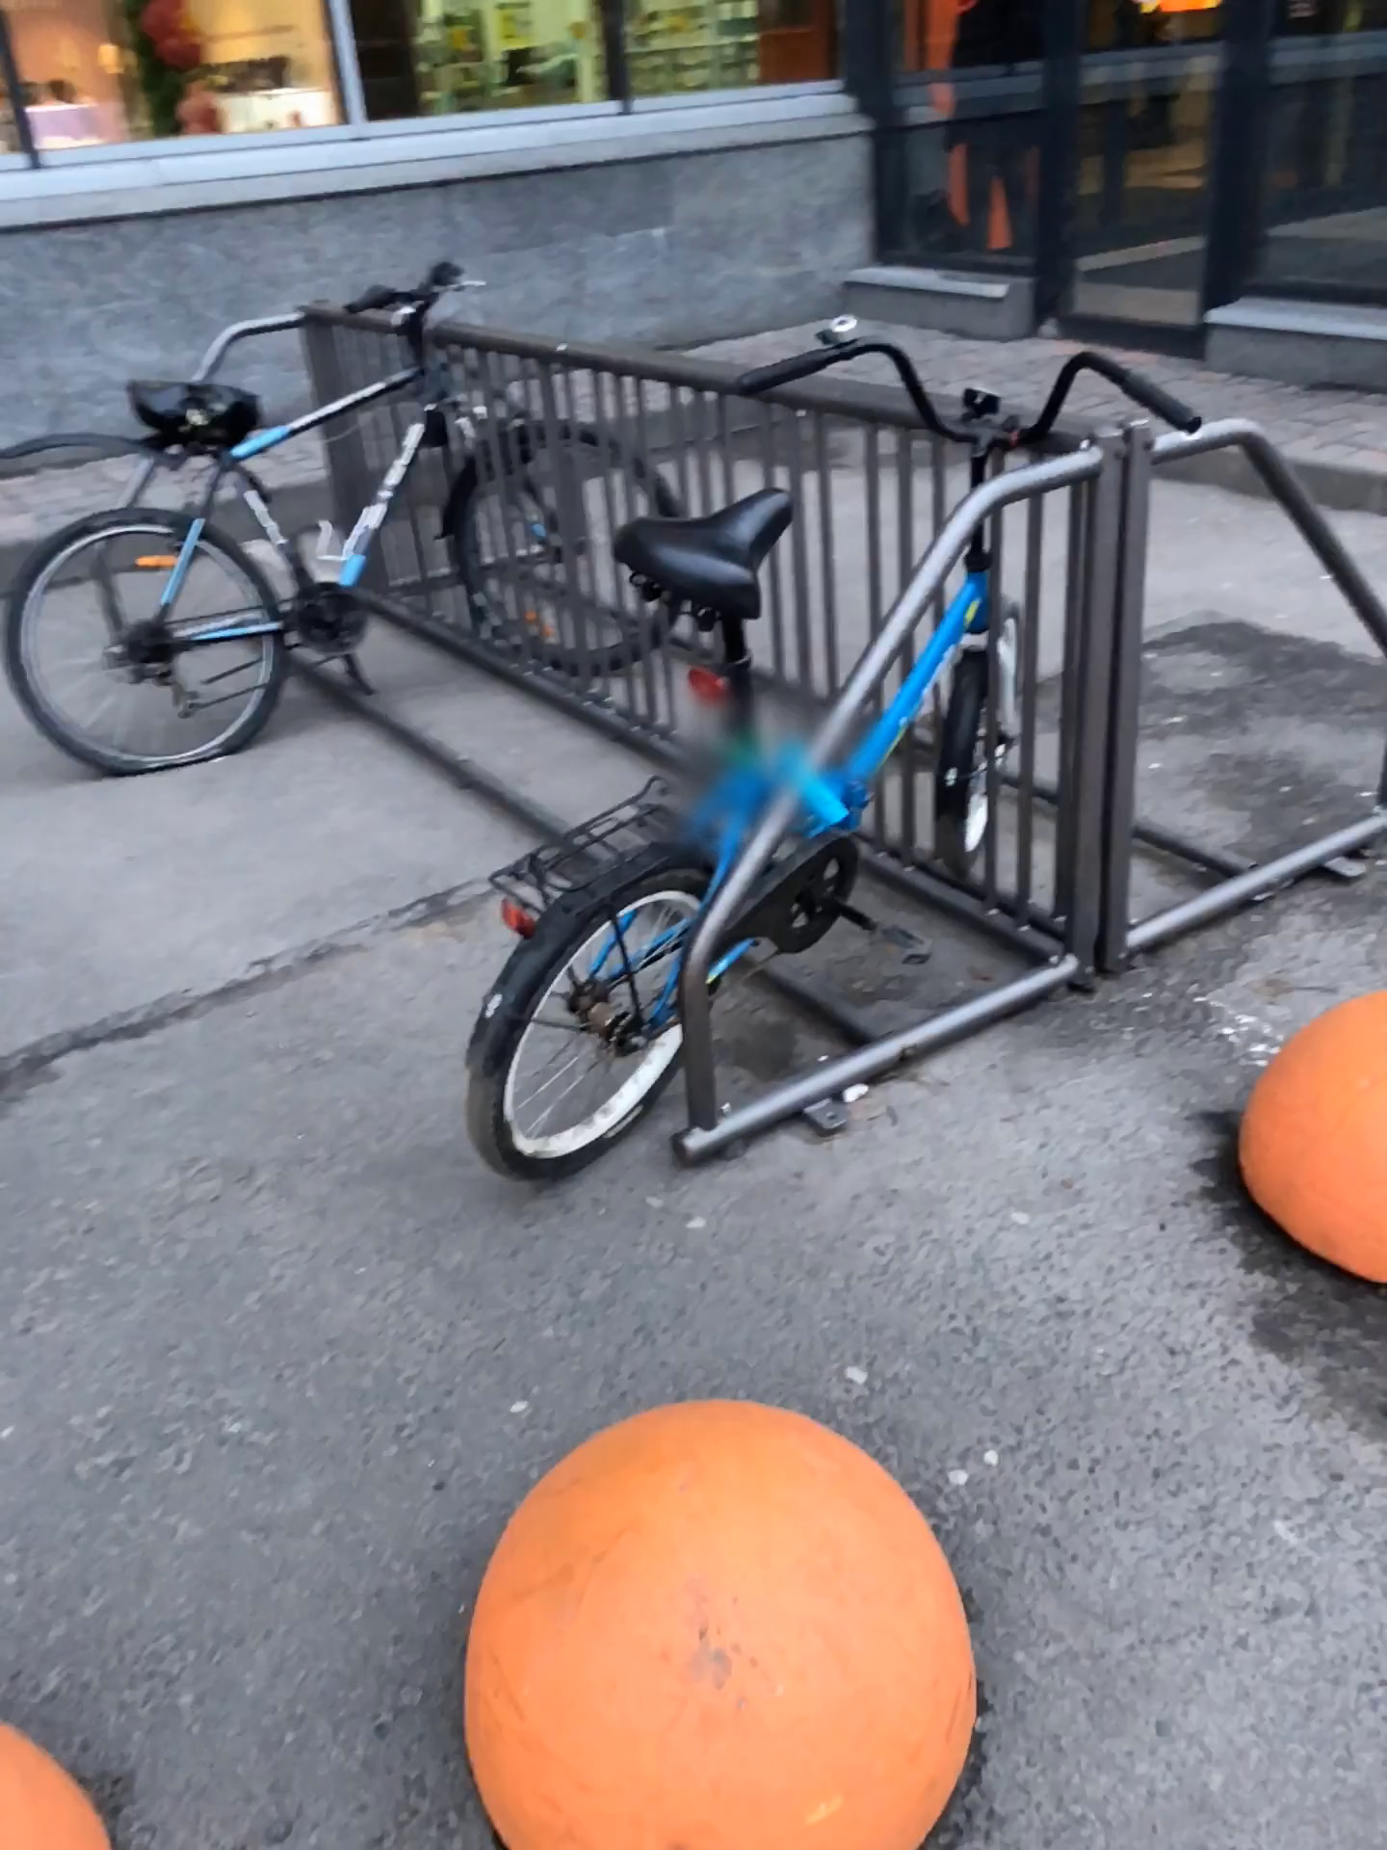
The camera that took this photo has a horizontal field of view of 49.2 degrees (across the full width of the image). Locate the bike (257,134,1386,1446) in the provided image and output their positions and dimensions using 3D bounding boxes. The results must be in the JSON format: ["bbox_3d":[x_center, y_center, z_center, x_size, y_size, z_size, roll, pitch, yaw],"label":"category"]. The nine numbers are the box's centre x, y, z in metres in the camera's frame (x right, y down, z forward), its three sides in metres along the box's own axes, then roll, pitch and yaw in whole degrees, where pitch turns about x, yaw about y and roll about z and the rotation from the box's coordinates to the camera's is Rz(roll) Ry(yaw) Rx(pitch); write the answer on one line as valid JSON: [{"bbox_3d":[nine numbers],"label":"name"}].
[{"bbox_3d":[0.289,-0.330,2.079,0.724,0.991,1.427,18,42,35],"label":"bike"}]
